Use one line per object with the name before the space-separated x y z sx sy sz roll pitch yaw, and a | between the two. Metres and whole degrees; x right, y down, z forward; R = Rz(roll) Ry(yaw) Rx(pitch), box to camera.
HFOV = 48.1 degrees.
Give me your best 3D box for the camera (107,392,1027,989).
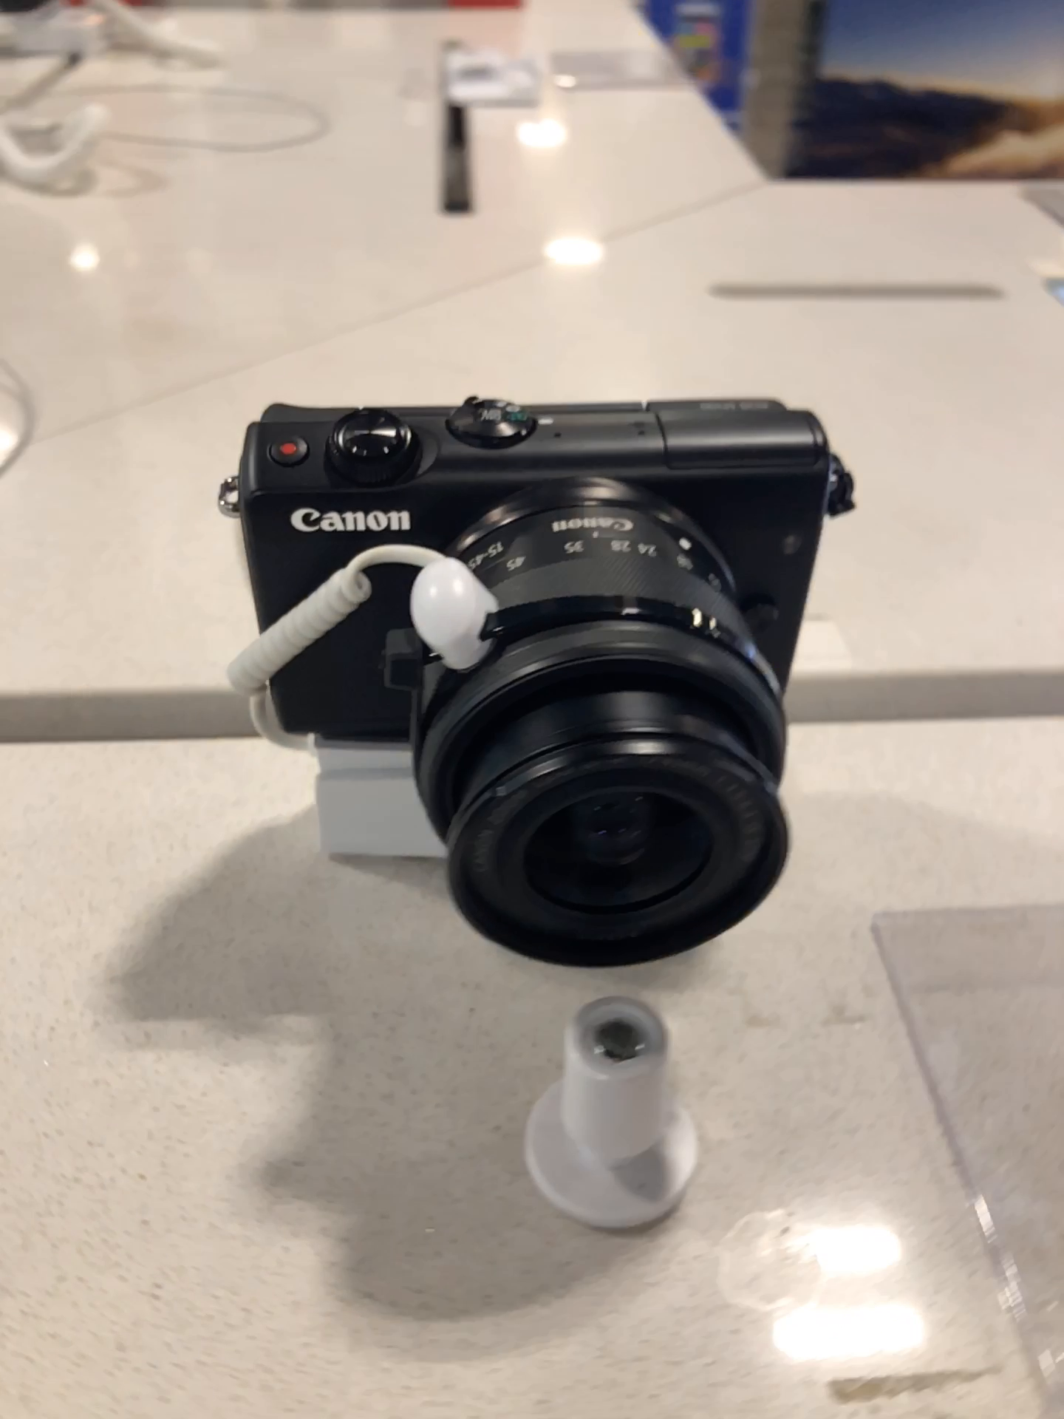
camera | 0.003 -0.008 0.209 0.120 0.060 0.091 -1 38 -2
